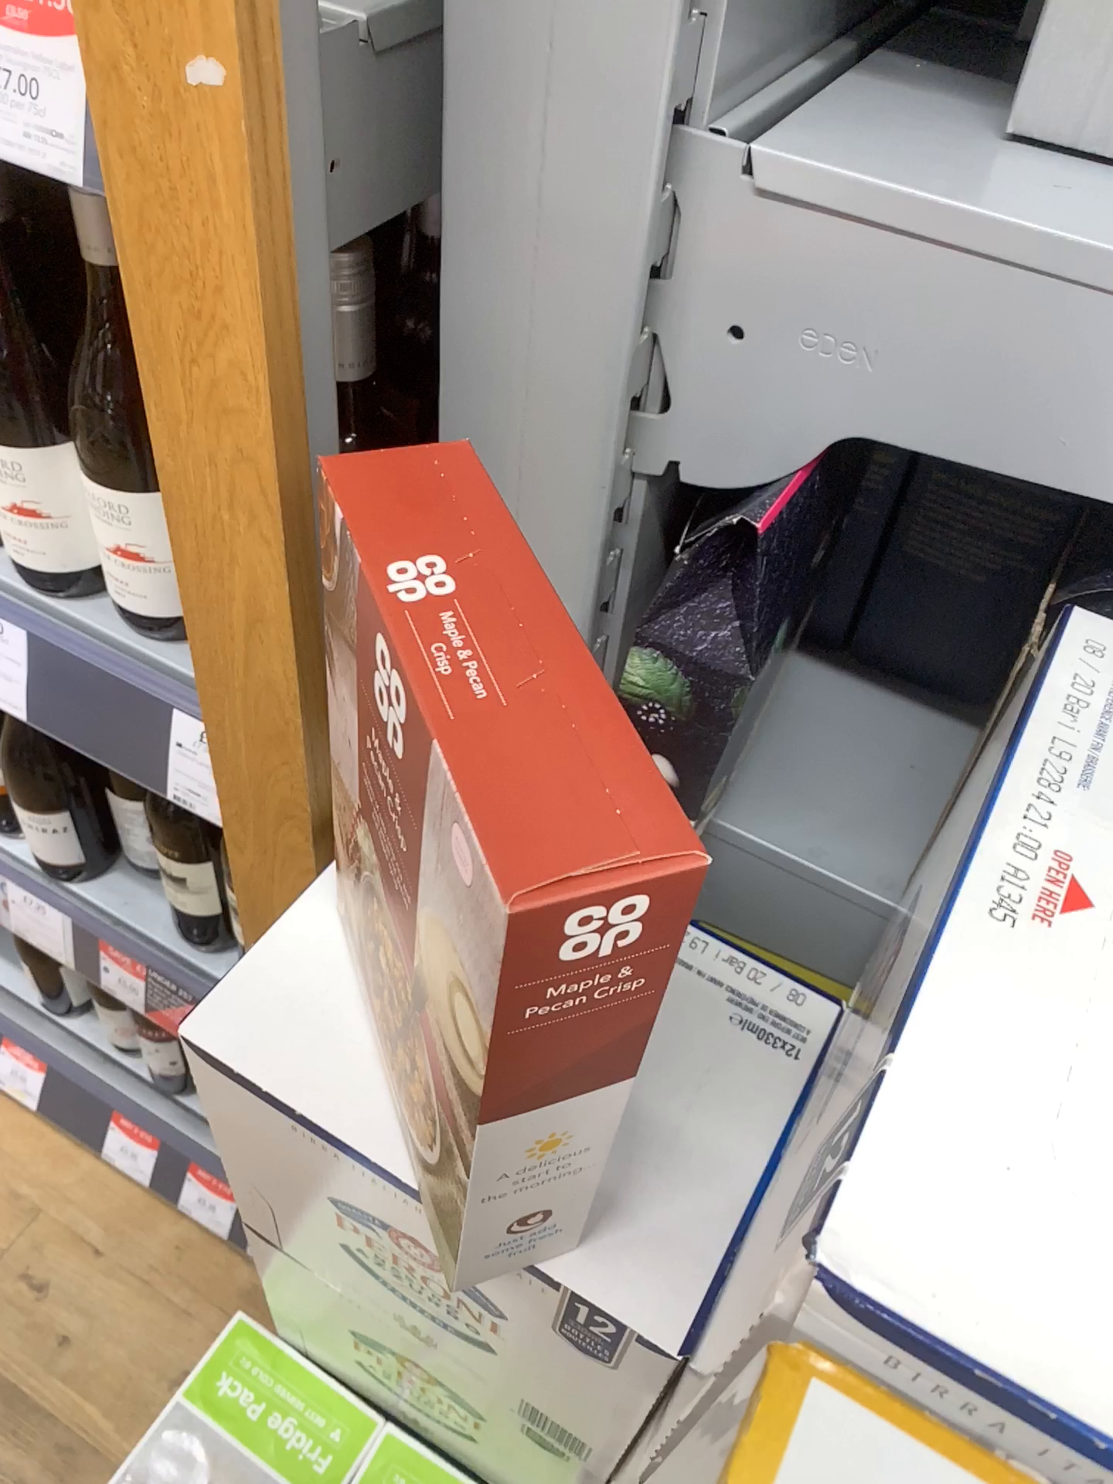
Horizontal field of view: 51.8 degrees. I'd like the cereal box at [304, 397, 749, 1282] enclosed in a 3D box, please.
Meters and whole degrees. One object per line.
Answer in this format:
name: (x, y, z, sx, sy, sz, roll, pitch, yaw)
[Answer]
cereal box: (-0.031, 0.043, 0.394, 0.060, 0.248, 0.181, -12, 50, -19)
